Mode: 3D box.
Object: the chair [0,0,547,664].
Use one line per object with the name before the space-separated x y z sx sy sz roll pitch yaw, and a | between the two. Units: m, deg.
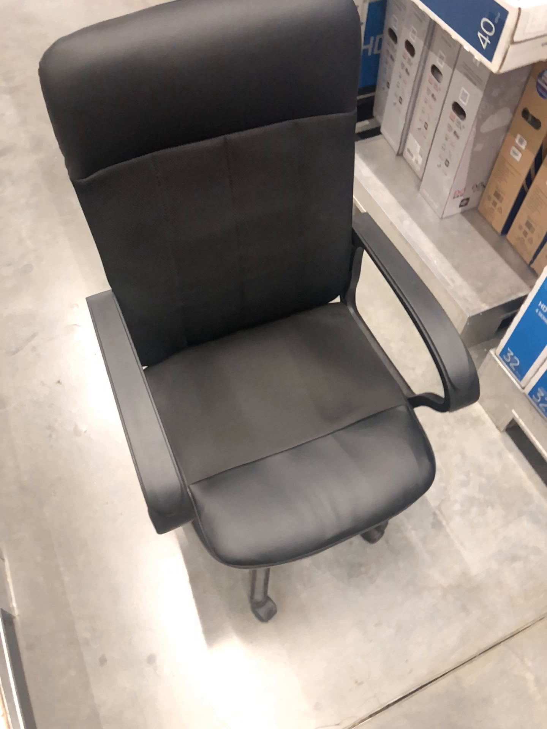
chair | 0.008 0.029 1.146 0.651 1.124 0.632 -21 60 -14
